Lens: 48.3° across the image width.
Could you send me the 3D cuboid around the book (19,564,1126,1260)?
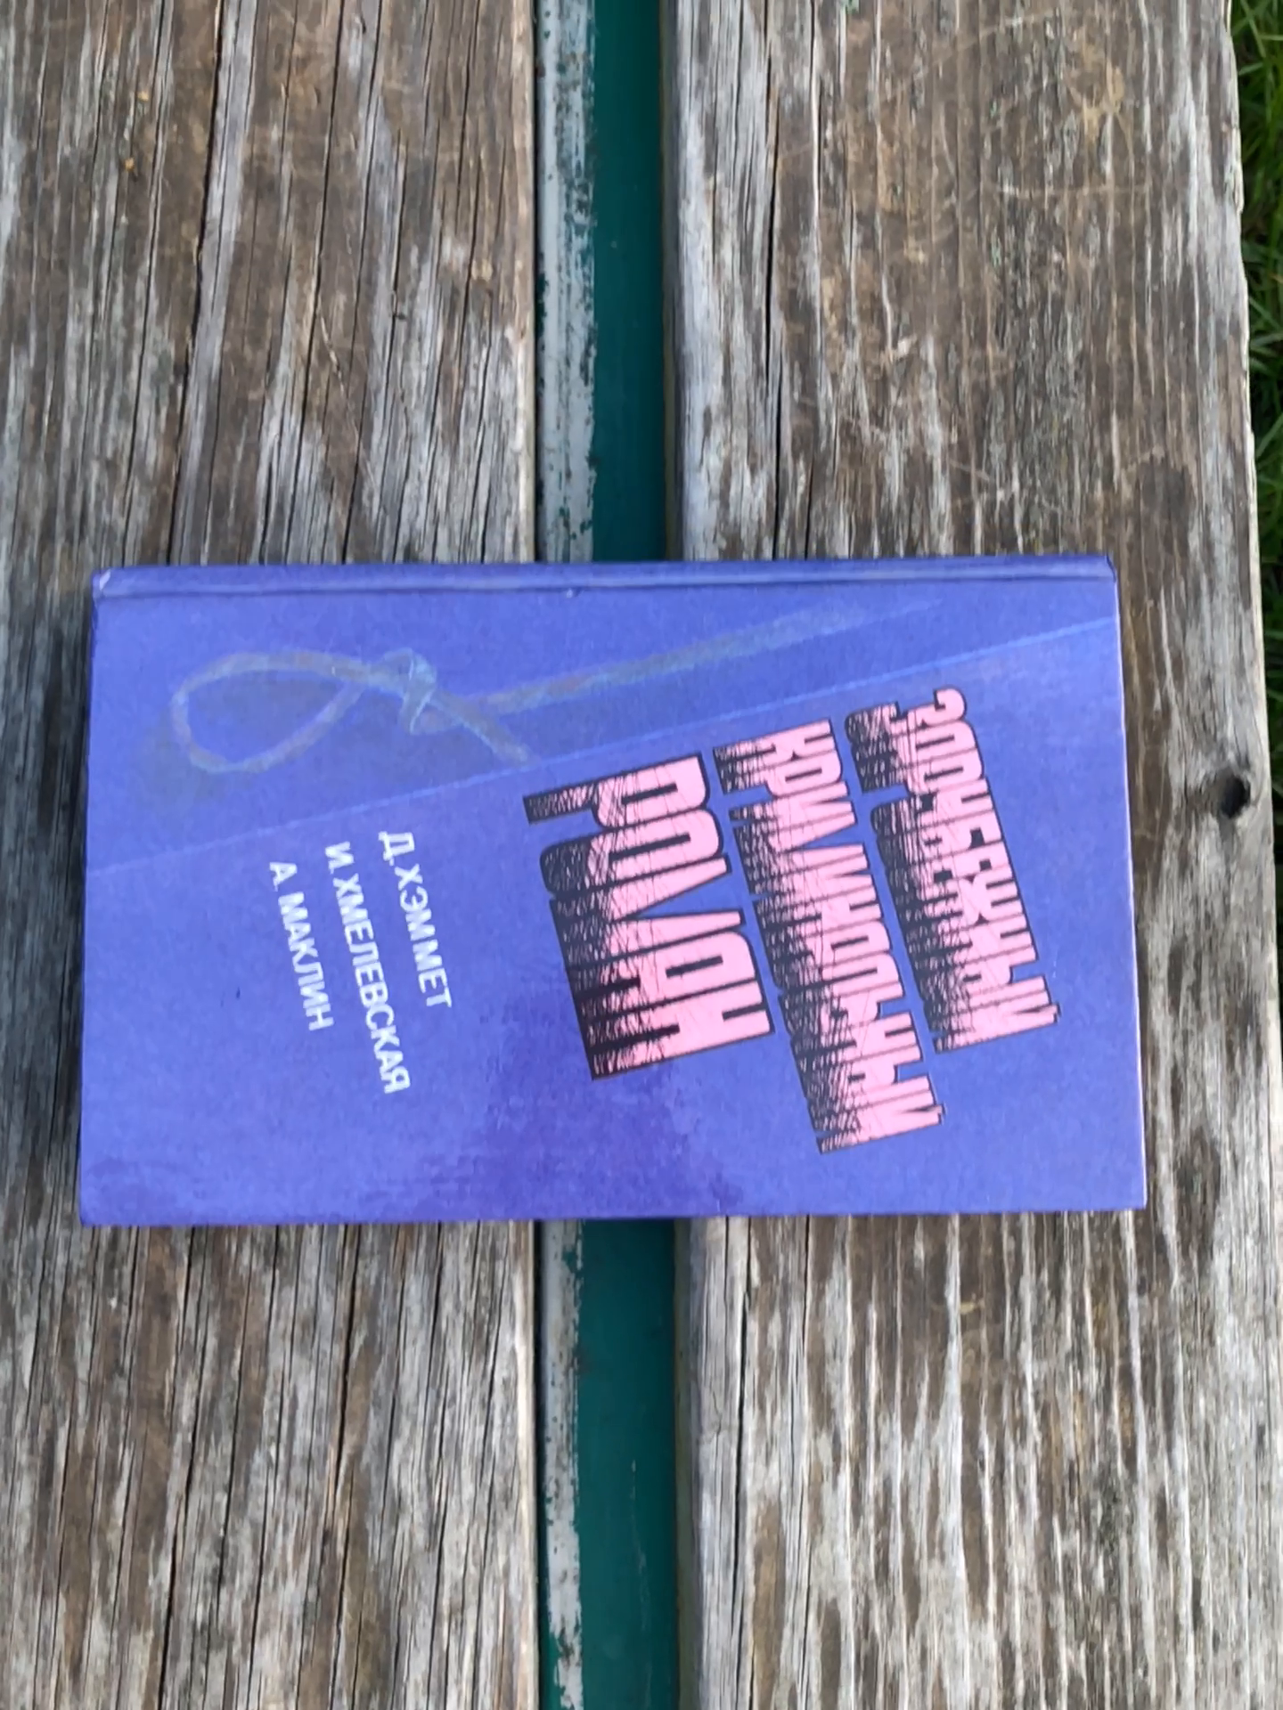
[{"bbox_3d":[-0.013,0.011,0.286,0.204,0.030,0.130,0,84,0],"label":"book"}]
